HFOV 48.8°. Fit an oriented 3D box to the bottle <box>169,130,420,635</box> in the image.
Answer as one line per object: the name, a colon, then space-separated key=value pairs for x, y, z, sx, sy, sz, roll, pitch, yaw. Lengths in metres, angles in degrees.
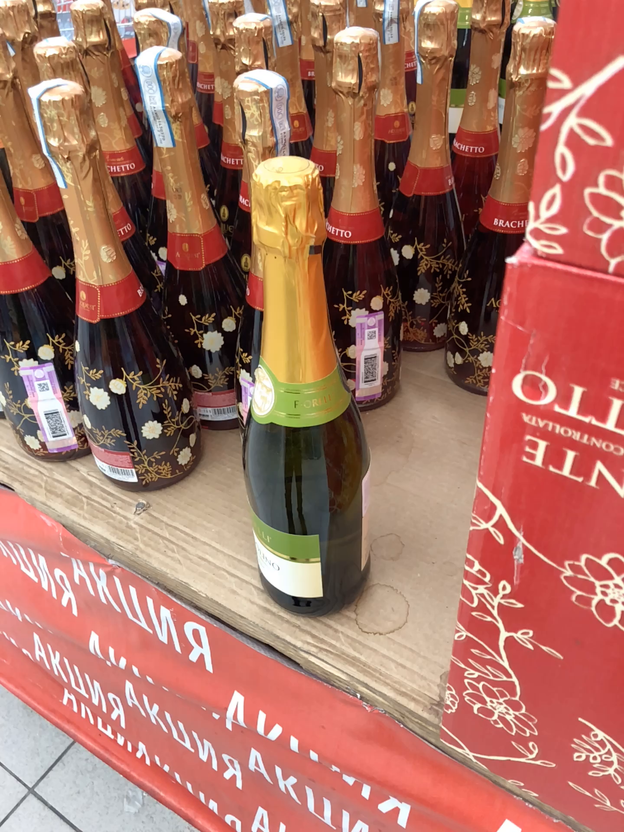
bottle: x=-0.004 y=-0.002 z=0.413 sx=0.090 sy=0.288 sz=0.090 roll=-2 pitch=40 yaw=2
